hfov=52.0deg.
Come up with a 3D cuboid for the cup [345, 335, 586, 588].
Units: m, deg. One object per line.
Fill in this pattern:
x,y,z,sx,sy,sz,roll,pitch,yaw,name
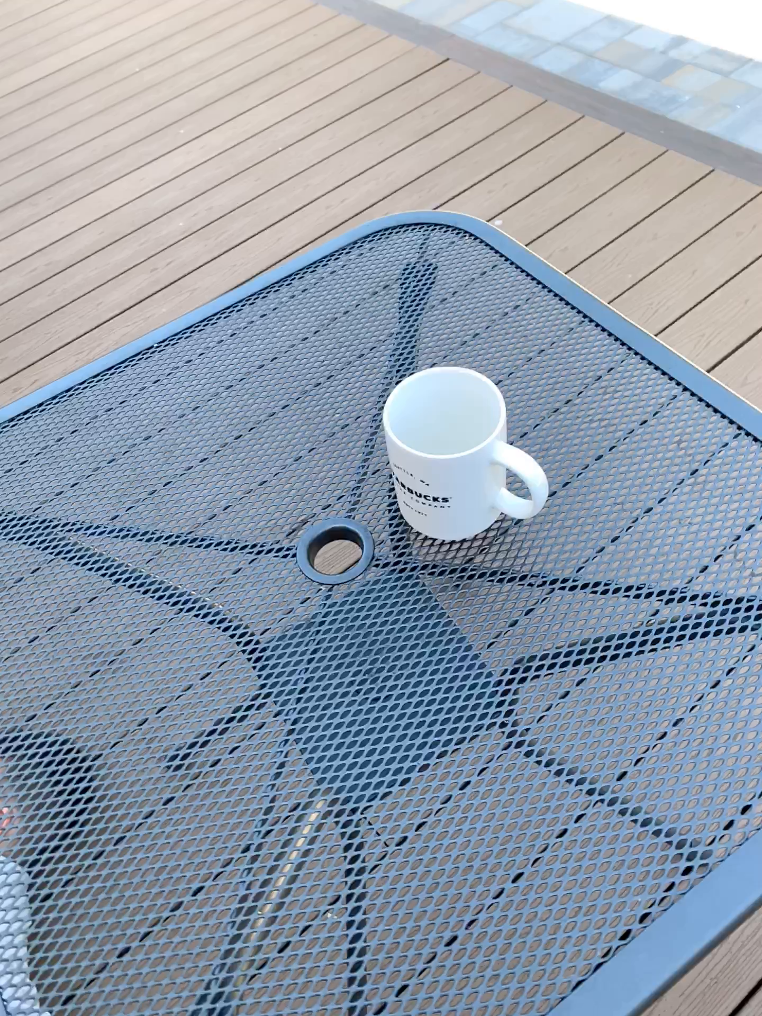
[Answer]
0.064,-0.035,0.577,0.130,0.110,0.100,27,64,25,cup
